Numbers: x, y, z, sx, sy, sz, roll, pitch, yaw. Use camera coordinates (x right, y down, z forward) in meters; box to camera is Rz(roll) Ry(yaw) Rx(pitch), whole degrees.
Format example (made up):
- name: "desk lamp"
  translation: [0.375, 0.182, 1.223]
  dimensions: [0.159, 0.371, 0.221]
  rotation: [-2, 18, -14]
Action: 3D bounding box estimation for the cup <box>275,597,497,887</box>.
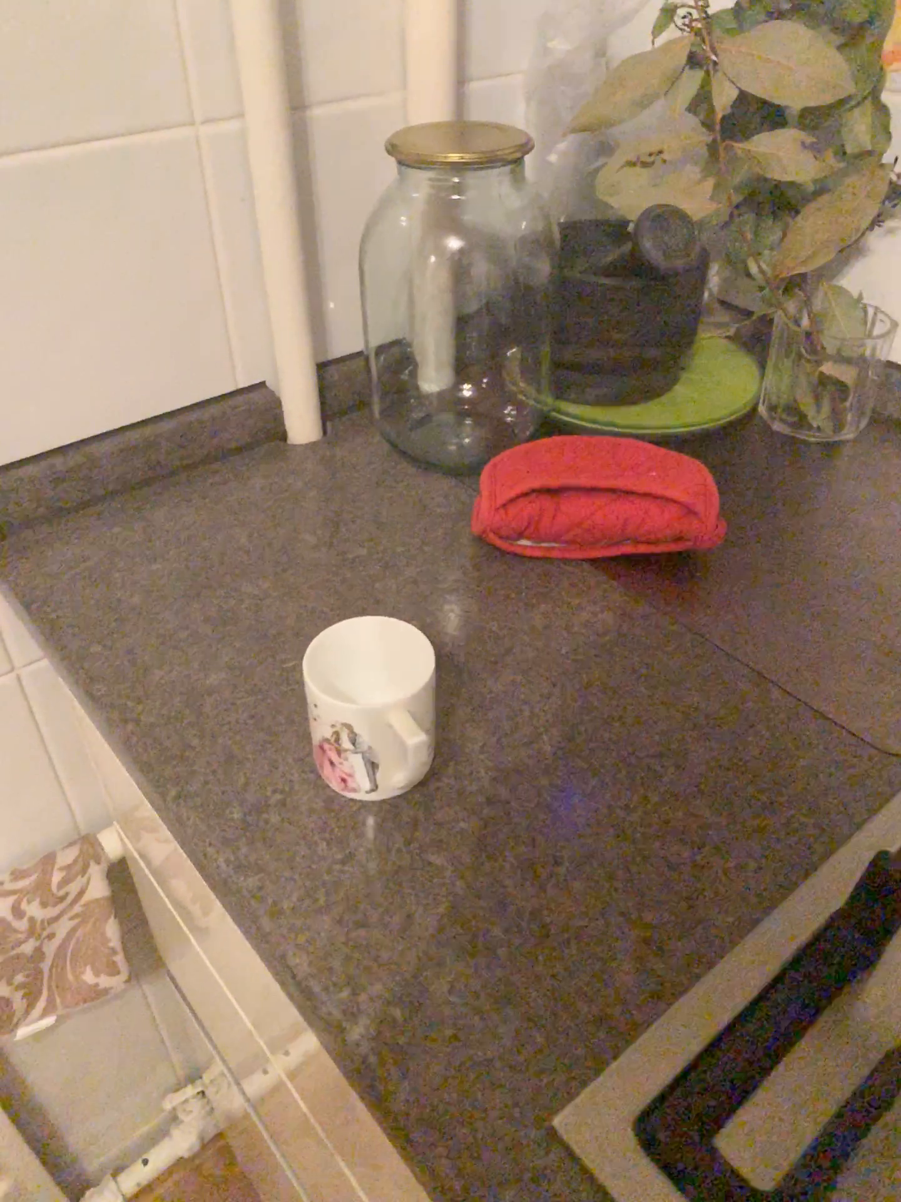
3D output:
- name: "cup"
  translation: [-0.029, 0.059, 0.408]
  dimensions: [0.060, 0.069, 0.091]
  rotation: [-19, 42, -22]
